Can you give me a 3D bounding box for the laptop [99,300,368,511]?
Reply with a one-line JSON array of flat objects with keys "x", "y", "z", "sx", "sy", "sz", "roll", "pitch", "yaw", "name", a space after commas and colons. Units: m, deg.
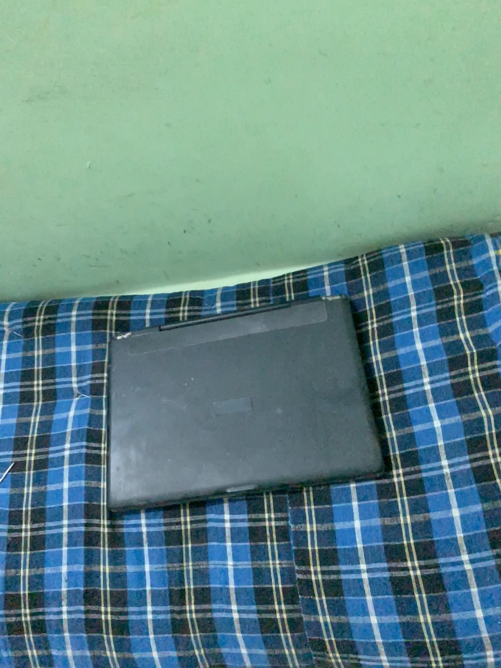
[{"x": -0.038, "y": 0.085, "z": 0.643, "sx": 0.323, "sy": 0.005, "sz": 0.216, "roll": -11, "pitch": 65, "yaw": 7, "name": "laptop"}]
